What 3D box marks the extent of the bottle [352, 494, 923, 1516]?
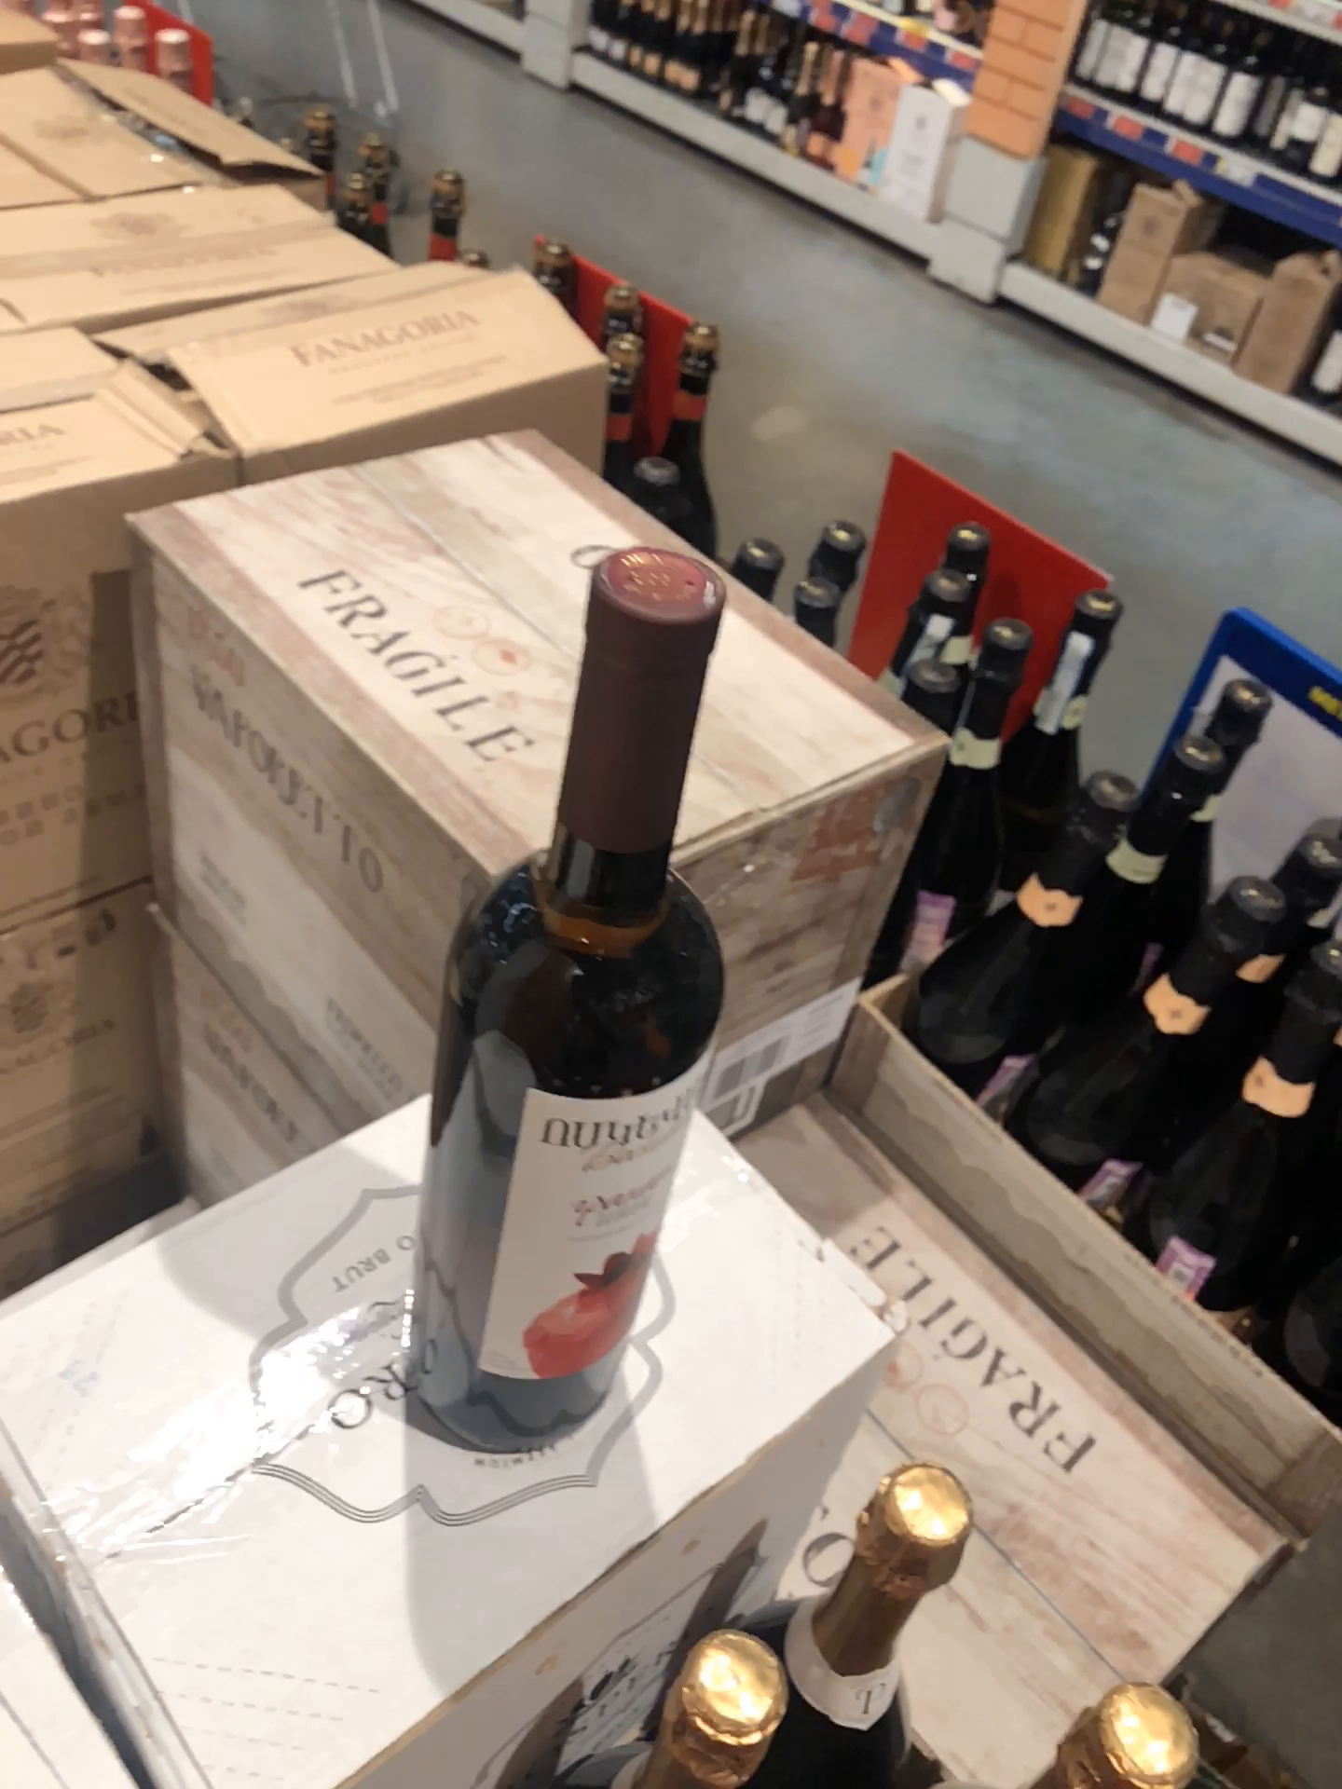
[{"bbox_3d":[-0.028,0.049,0.415,0.090,0.298,0.080,-17,49,-29],"label":"bottle"}]
